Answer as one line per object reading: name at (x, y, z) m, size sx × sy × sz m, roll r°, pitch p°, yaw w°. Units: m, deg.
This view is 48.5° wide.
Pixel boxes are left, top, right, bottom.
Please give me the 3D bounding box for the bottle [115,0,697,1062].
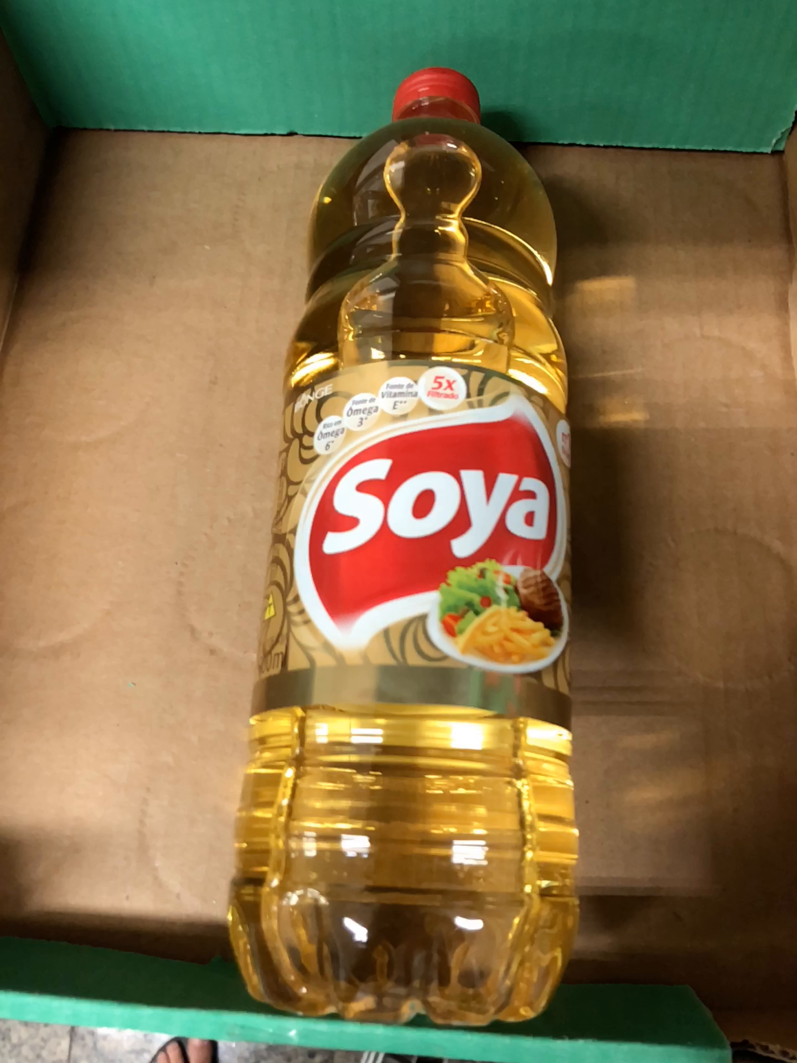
bottle at (0.008, -0.010, 0.189) m, size 0.080 × 0.070 × 0.210 m, roll 4°, pitch 71°, yaw 2°
